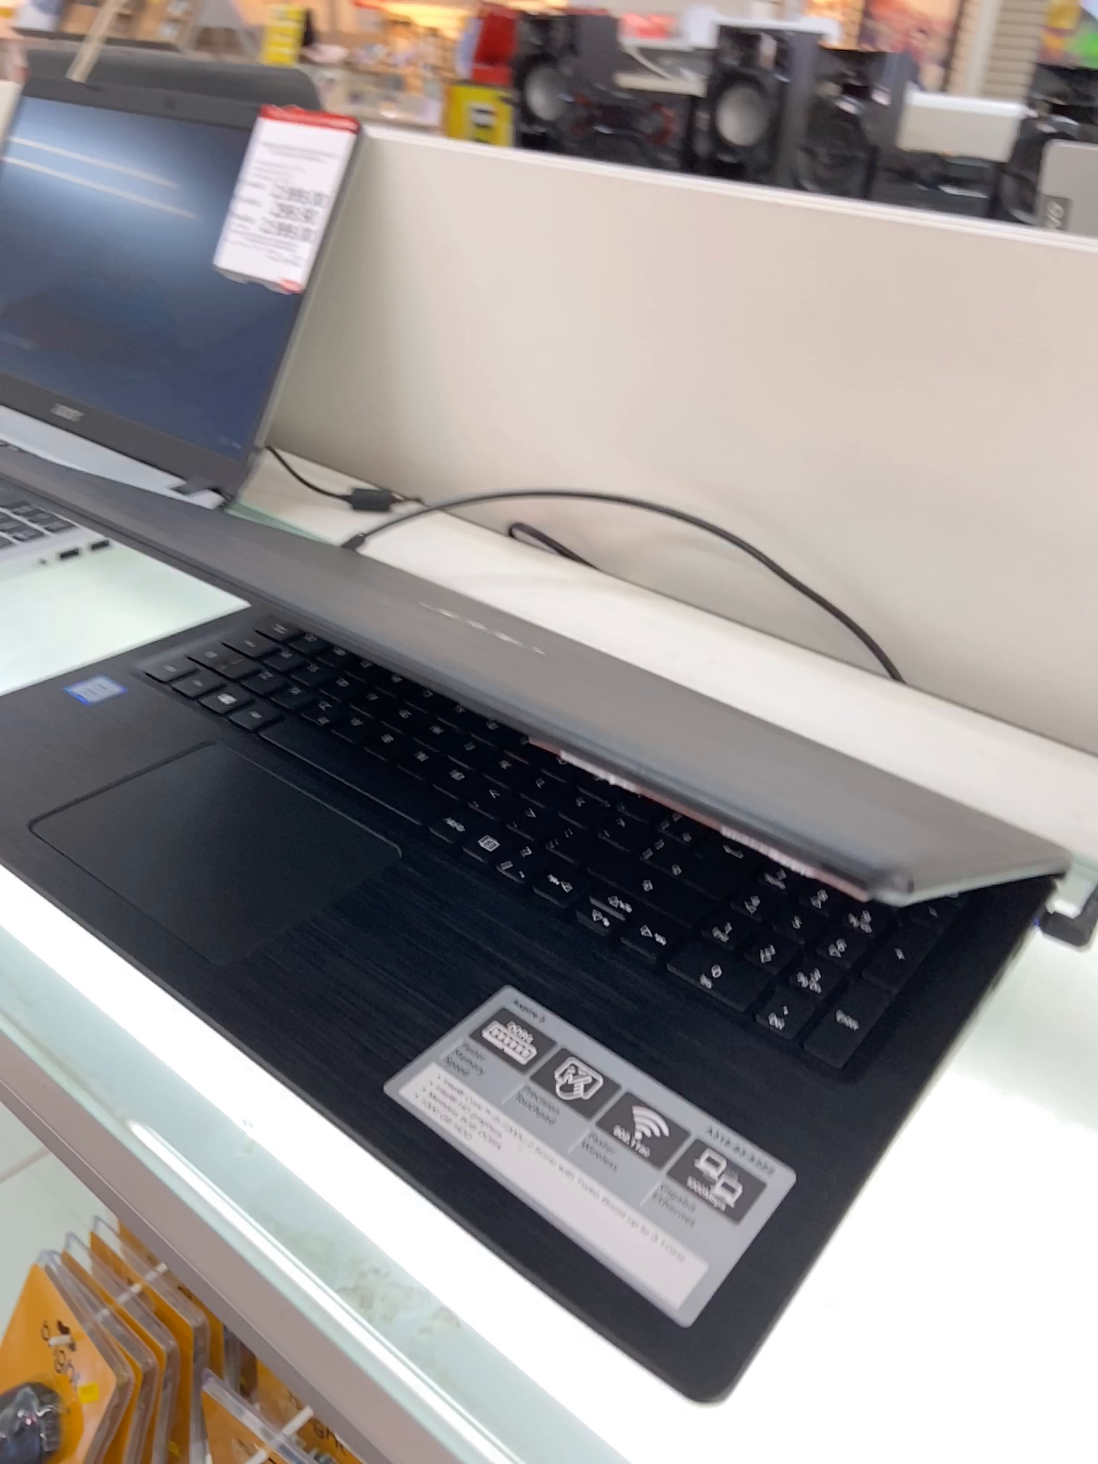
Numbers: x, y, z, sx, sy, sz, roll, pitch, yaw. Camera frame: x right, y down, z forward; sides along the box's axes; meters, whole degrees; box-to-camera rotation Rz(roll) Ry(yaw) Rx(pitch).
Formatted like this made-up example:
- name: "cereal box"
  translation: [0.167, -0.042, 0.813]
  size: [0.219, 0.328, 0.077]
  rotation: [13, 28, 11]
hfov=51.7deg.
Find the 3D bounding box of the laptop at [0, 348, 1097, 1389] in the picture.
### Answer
- name: "laptop"
  translation: [-0.038, -0.021, 0.393]
  size: [0.381, 0.118, 0.237]
  rotation: [24, 36, 30]
